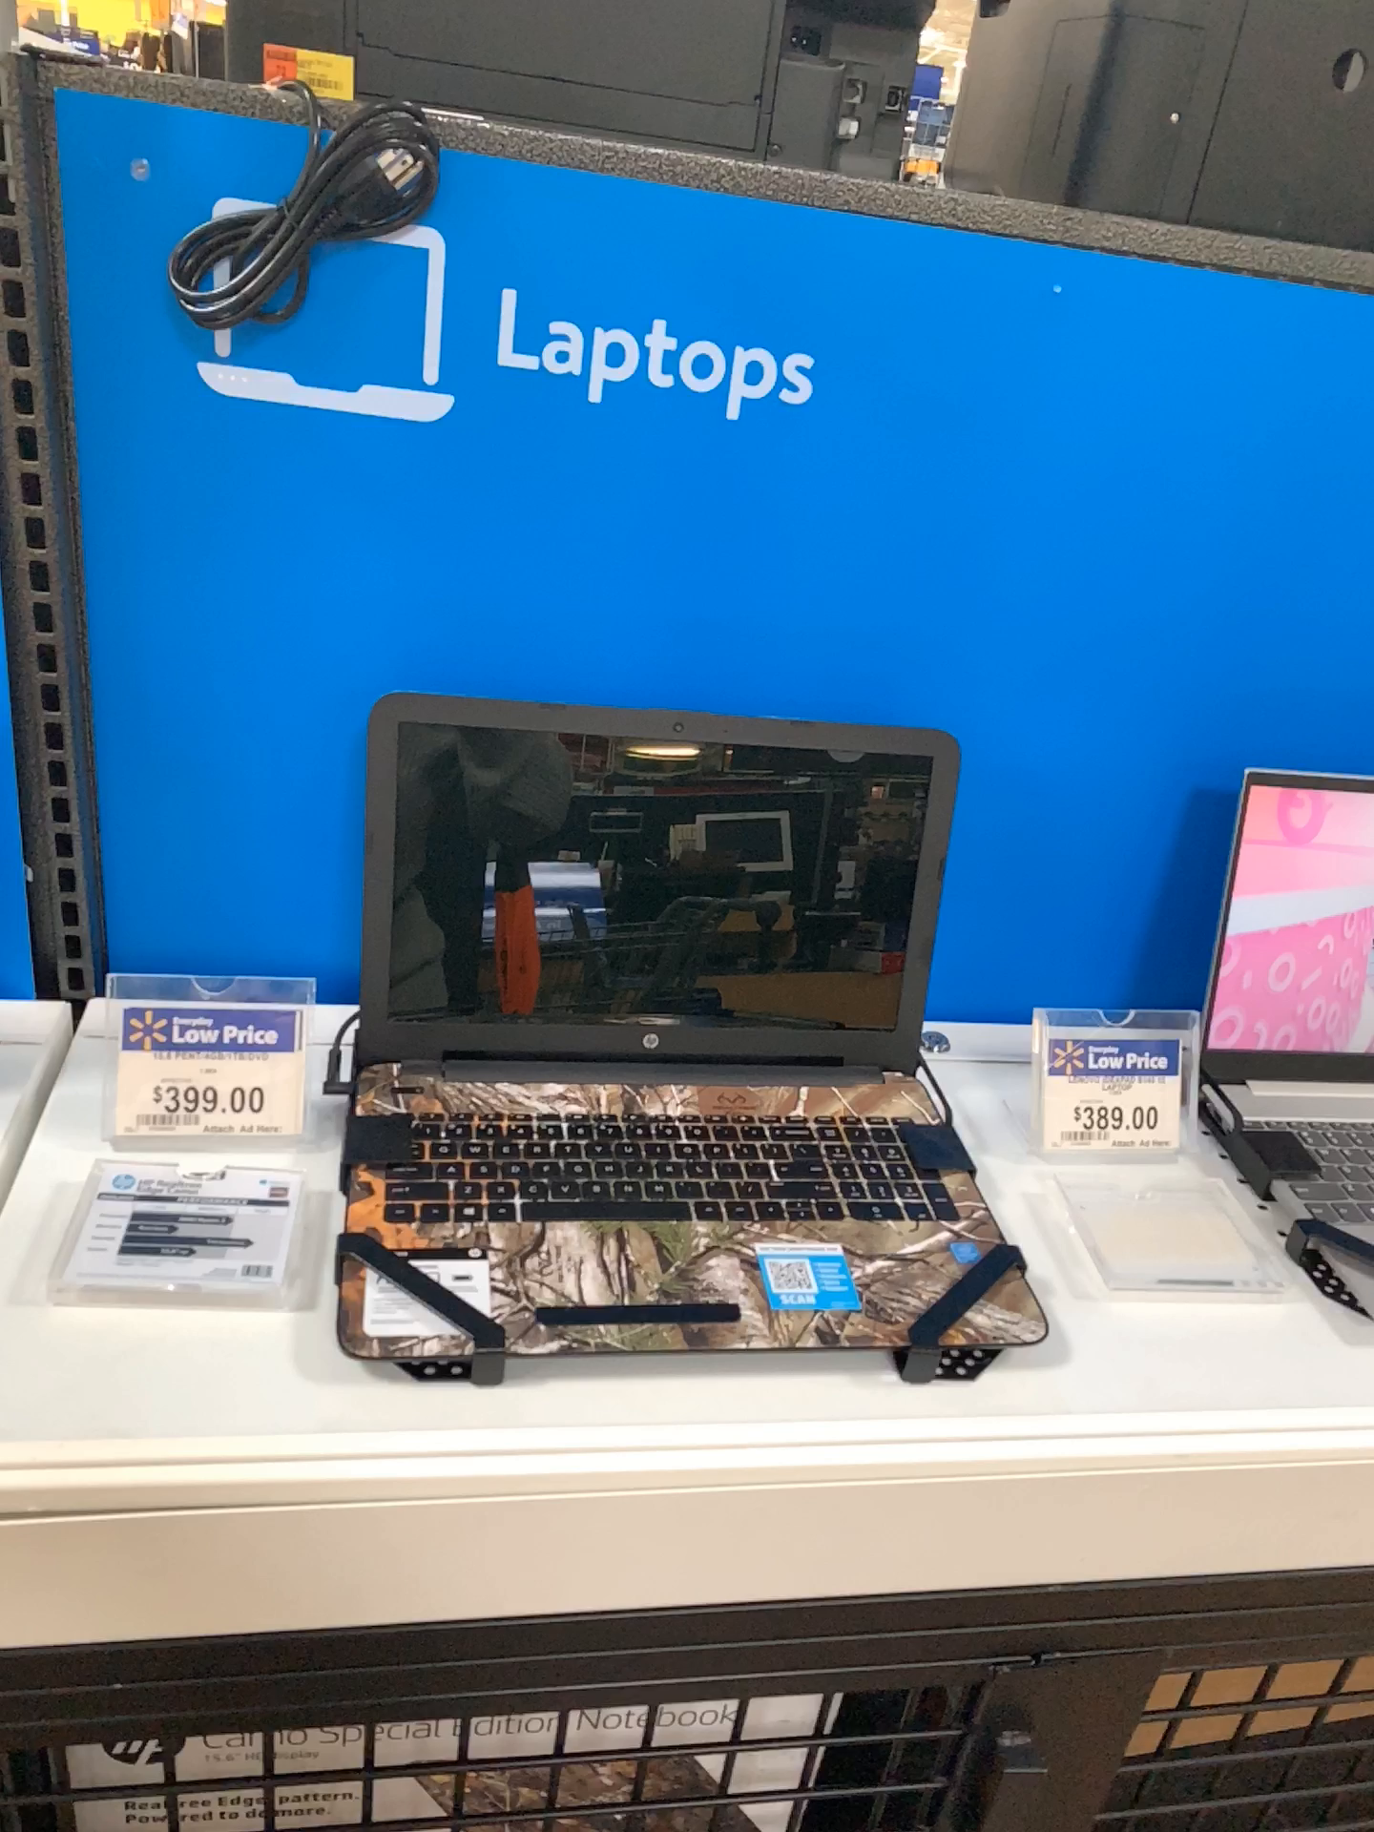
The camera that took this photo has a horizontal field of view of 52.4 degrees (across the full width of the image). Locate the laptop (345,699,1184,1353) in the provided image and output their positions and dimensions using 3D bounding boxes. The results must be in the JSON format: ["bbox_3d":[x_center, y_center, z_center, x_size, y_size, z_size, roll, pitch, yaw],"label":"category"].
[{"bbox_3d":[0.005,0.050,0.793,0.374,0.227,0.304,2,28,-11],"label":"laptop"}]
